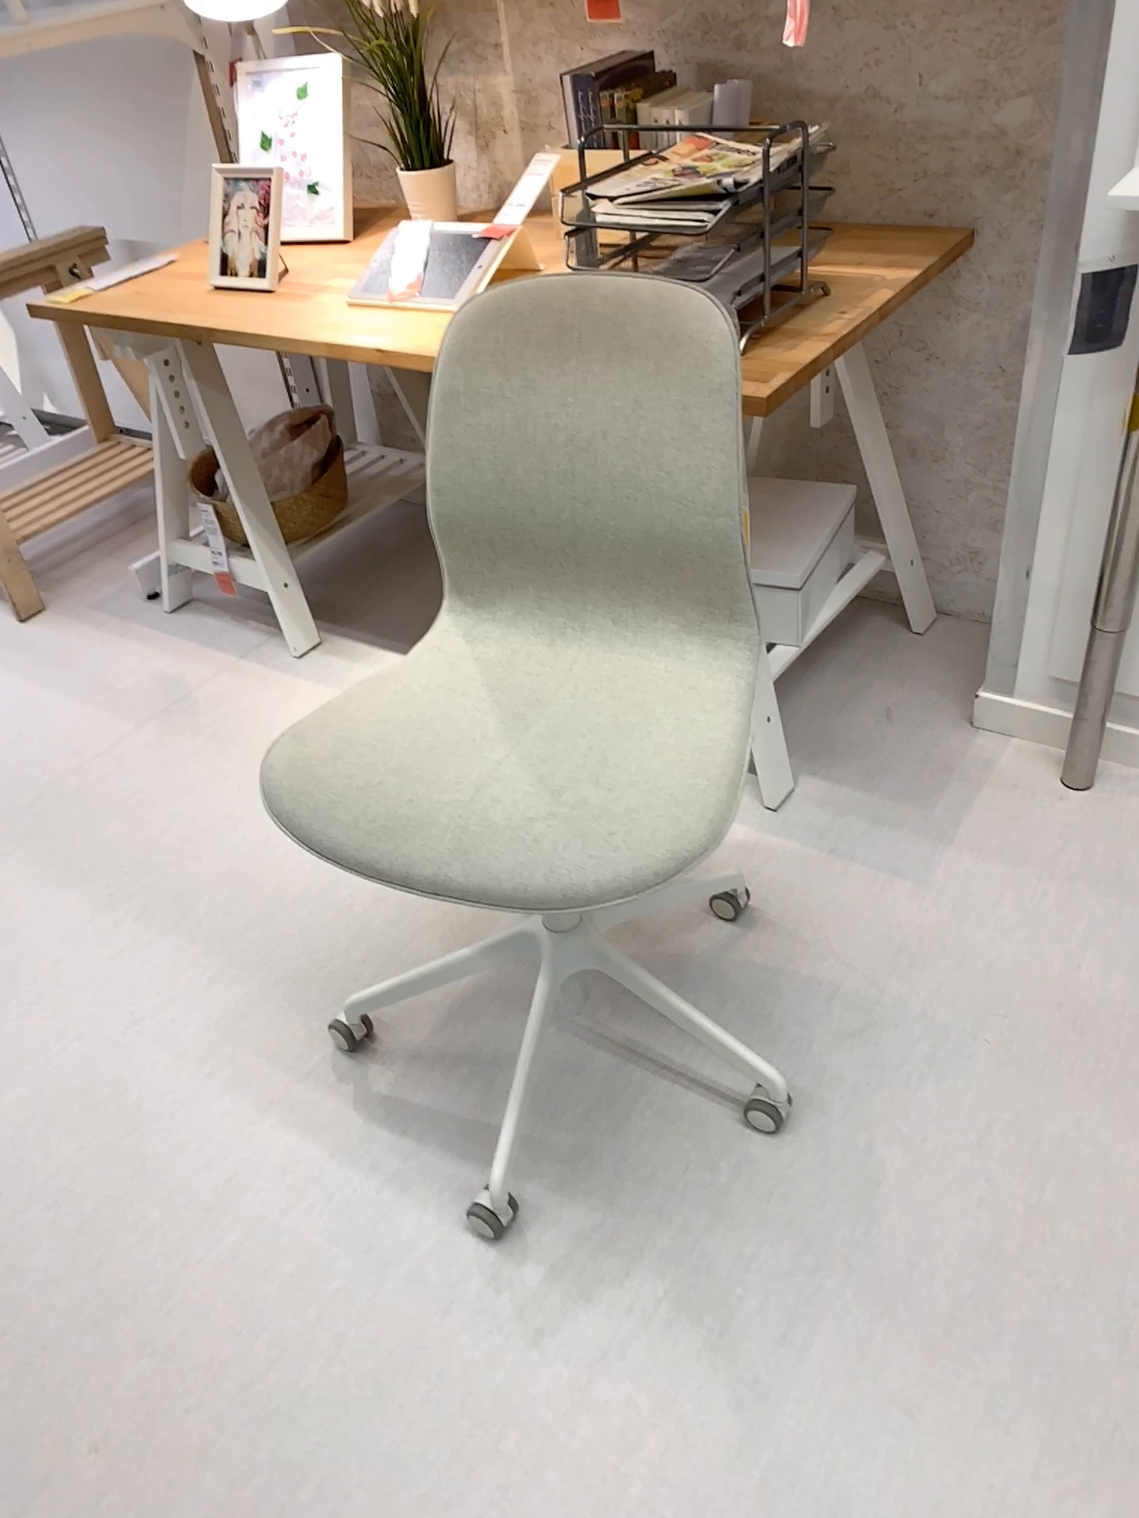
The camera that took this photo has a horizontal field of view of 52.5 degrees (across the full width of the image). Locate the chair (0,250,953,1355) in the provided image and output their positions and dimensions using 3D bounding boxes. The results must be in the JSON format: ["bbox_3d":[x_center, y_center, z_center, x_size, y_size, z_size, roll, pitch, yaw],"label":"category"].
[{"bbox_3d":[-0.037,-0.002,1.272,0.661,0.866,0.662,14,42,26],"label":"chair"}]
